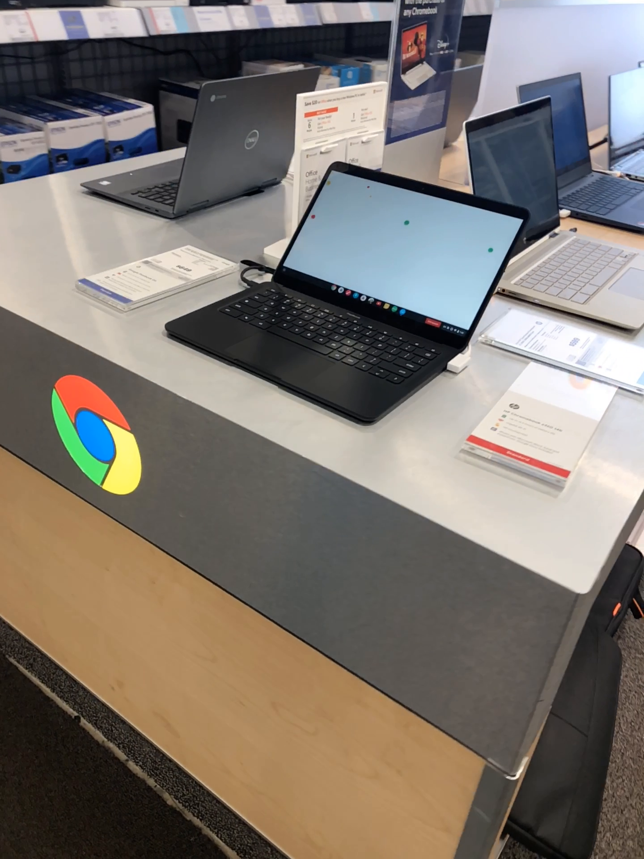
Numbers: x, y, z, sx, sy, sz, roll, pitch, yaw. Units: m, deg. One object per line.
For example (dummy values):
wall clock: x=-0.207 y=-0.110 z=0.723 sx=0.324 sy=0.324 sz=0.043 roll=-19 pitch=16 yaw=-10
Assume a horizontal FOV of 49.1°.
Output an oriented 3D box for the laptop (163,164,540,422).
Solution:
laptop: x=0.042 y=-0.191 z=0.852 sx=0.294 sy=0.134 sz=0.336 roll=25 pitch=40 yaw=27
